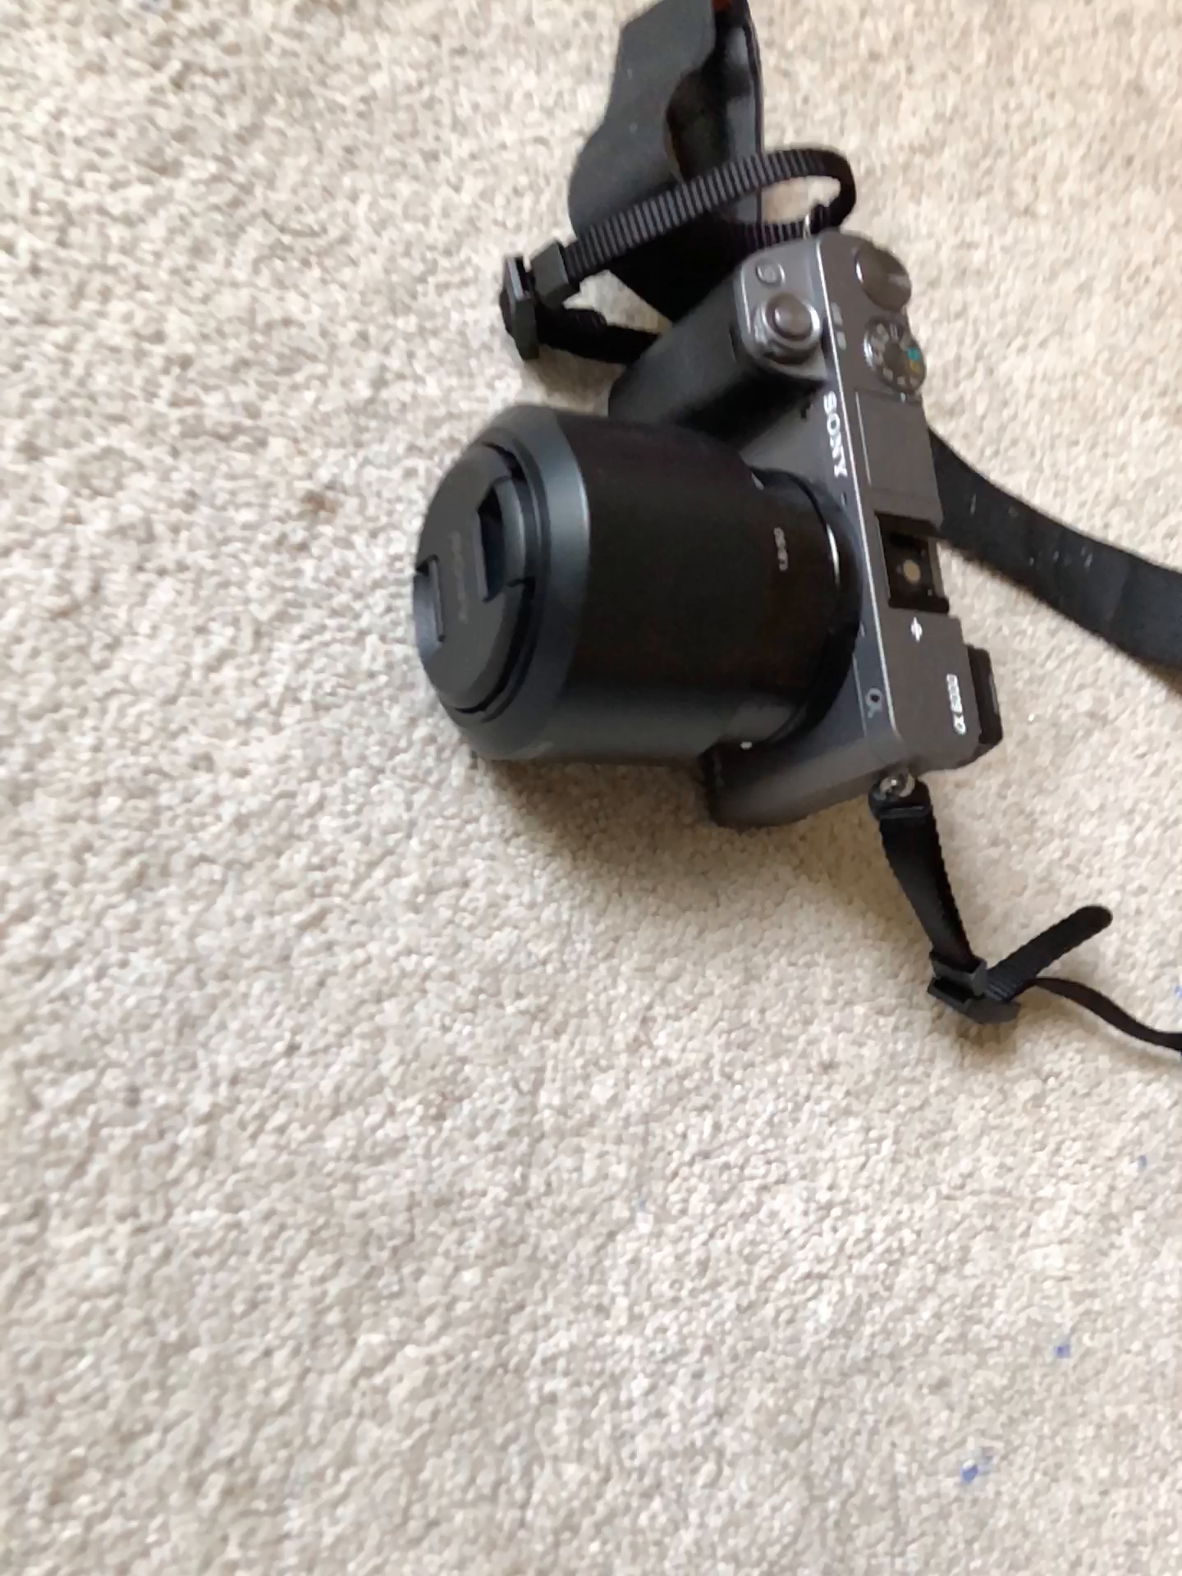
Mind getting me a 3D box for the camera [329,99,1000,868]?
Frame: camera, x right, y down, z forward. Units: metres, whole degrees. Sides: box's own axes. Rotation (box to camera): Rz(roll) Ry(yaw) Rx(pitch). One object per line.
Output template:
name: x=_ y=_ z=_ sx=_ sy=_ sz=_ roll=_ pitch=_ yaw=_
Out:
camera: x=0.010 y=-0.050 z=0.264 sx=0.100 sy=0.070 sz=0.120 roll=2 pitch=74 yaw=-31
